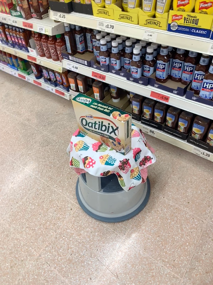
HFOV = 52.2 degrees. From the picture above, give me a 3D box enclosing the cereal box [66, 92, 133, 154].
[{"bbox_3d":[-0.028,-0.082,0.897,0.281,0.168,0.060,26,56,26],"label":"cereal box"}]
